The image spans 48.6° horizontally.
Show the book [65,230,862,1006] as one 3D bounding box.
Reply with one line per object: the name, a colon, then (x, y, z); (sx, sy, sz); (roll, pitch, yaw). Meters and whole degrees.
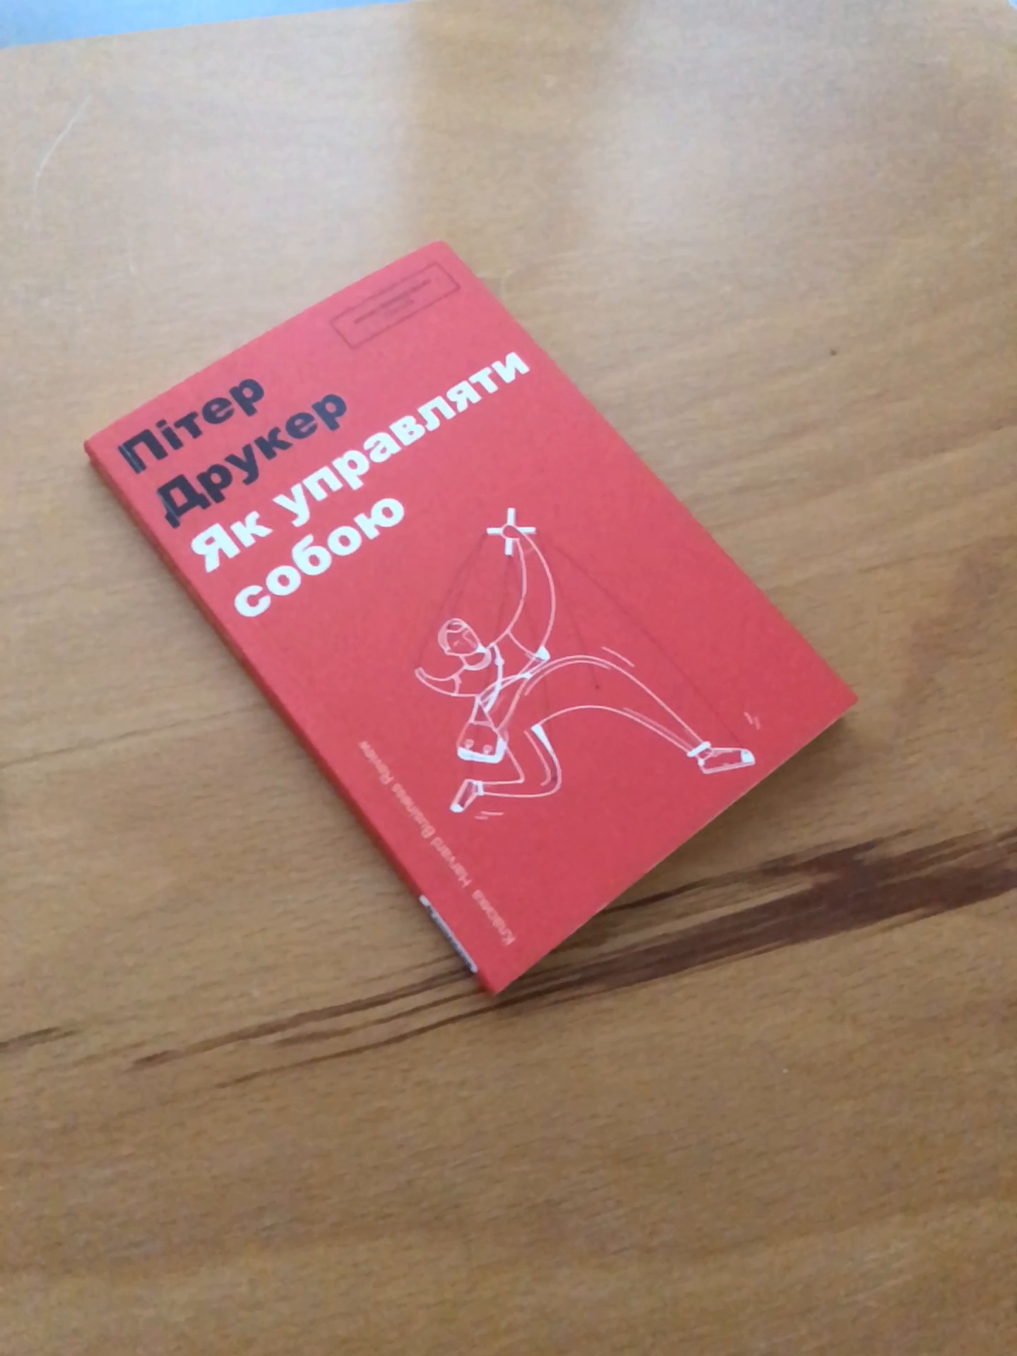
book: (-0.013, -0.025, 0.270); (0.112, 0.013, 0.164); (-35, 74, -15)
